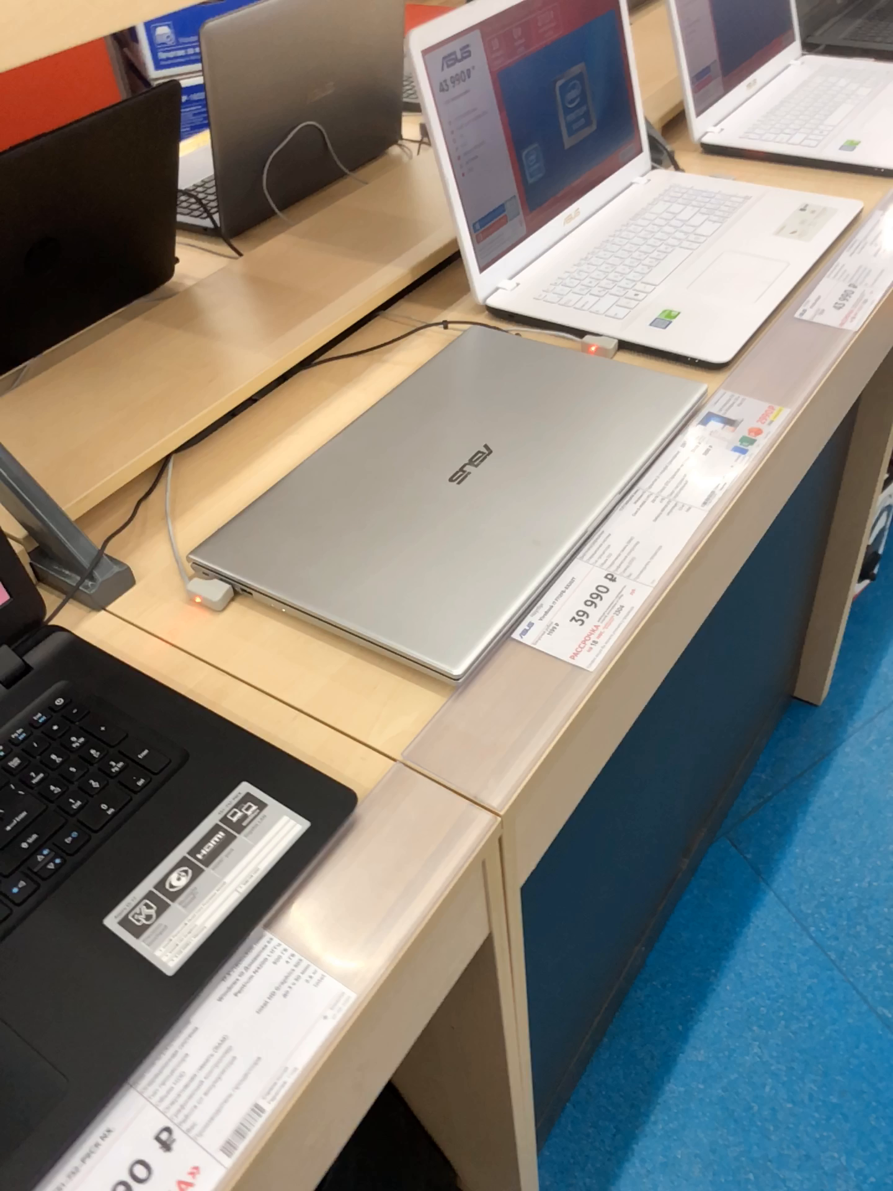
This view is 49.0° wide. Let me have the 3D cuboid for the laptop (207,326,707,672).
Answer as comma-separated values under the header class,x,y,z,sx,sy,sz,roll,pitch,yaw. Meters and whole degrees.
class,x,y,z,sx,sy,sz,roll,pitch,yaw
laptop,0.025,-0.109,0.810,0.233,0.006,0.393,23,50,26
